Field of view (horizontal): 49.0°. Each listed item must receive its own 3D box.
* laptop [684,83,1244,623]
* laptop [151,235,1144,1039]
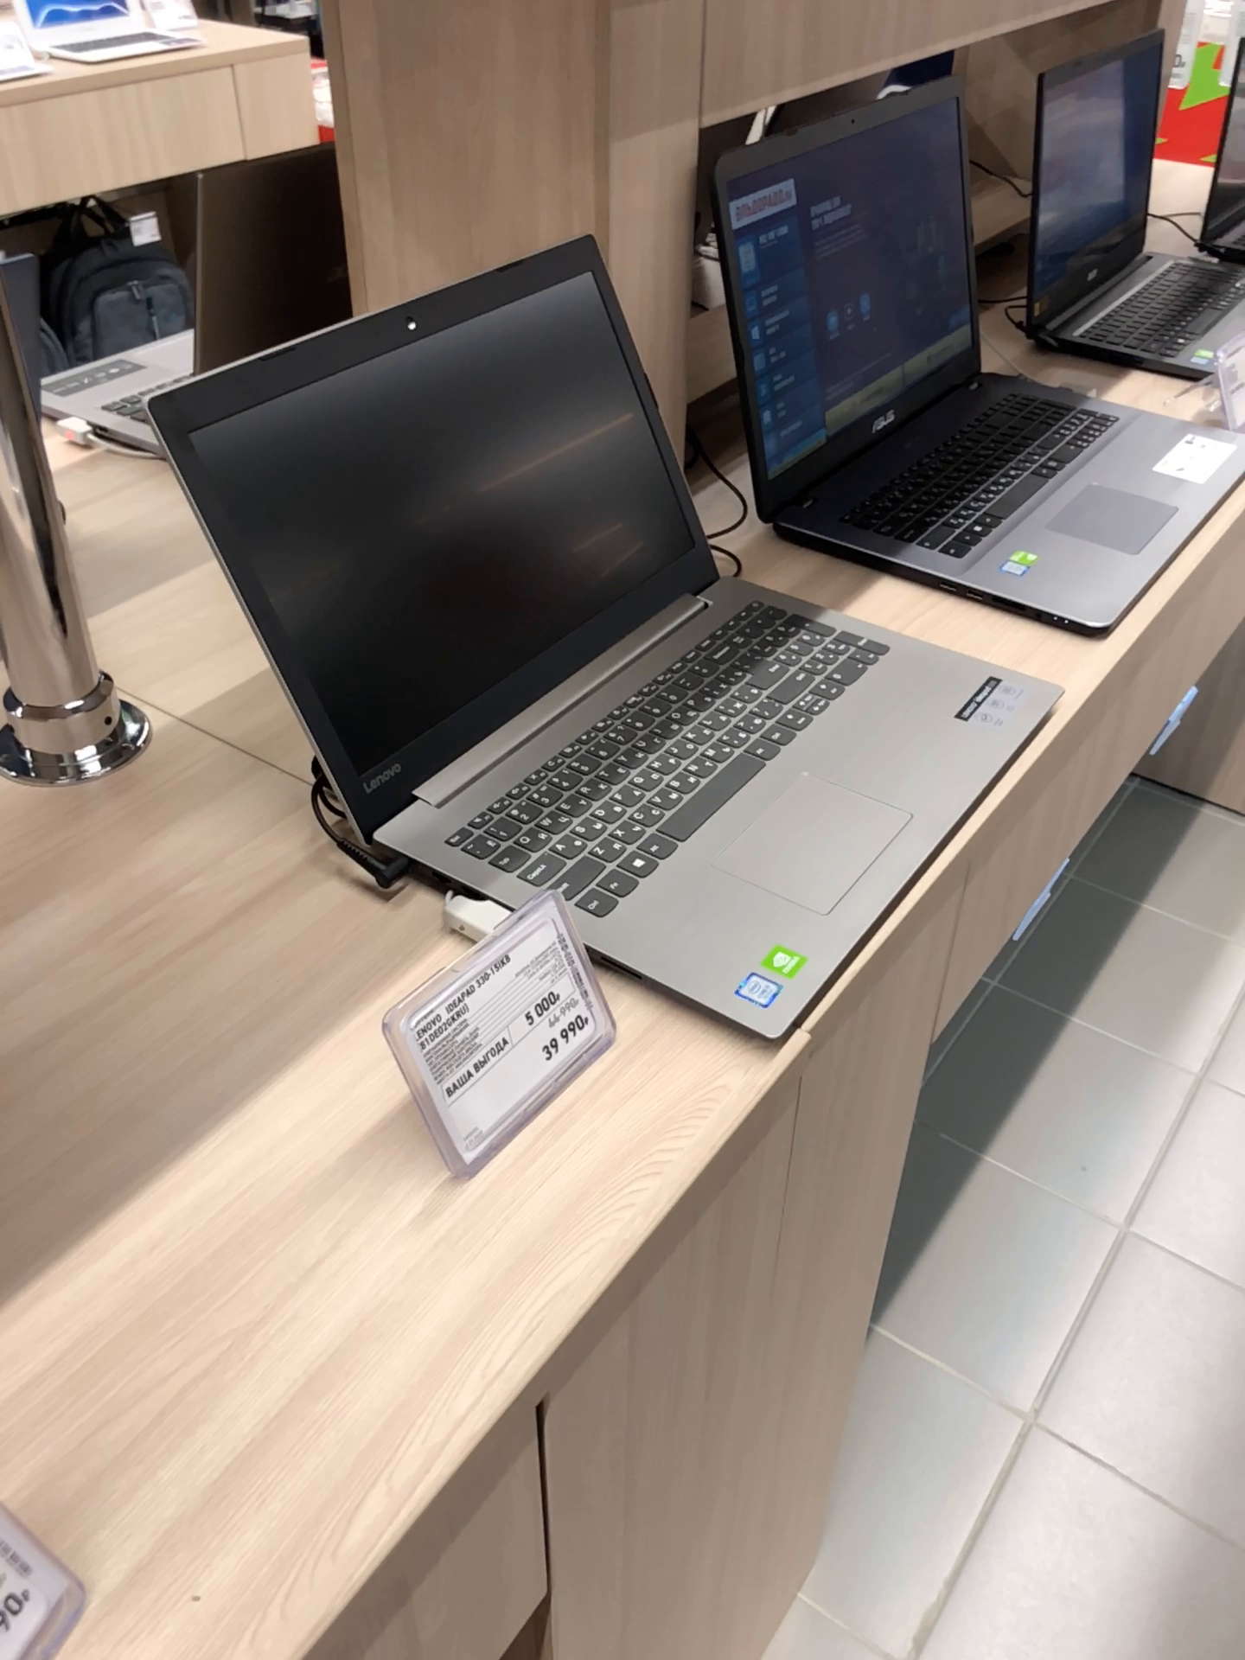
[{"bbox_3d":[0.309,-0.398,1.071,0.334,0.246,0.404,24,43,26],"label":"laptop"},{"bbox_3d":[0.026,-0.148,0.760,0.366,0.208,0.371,24,43,26],"label":"laptop"}]
